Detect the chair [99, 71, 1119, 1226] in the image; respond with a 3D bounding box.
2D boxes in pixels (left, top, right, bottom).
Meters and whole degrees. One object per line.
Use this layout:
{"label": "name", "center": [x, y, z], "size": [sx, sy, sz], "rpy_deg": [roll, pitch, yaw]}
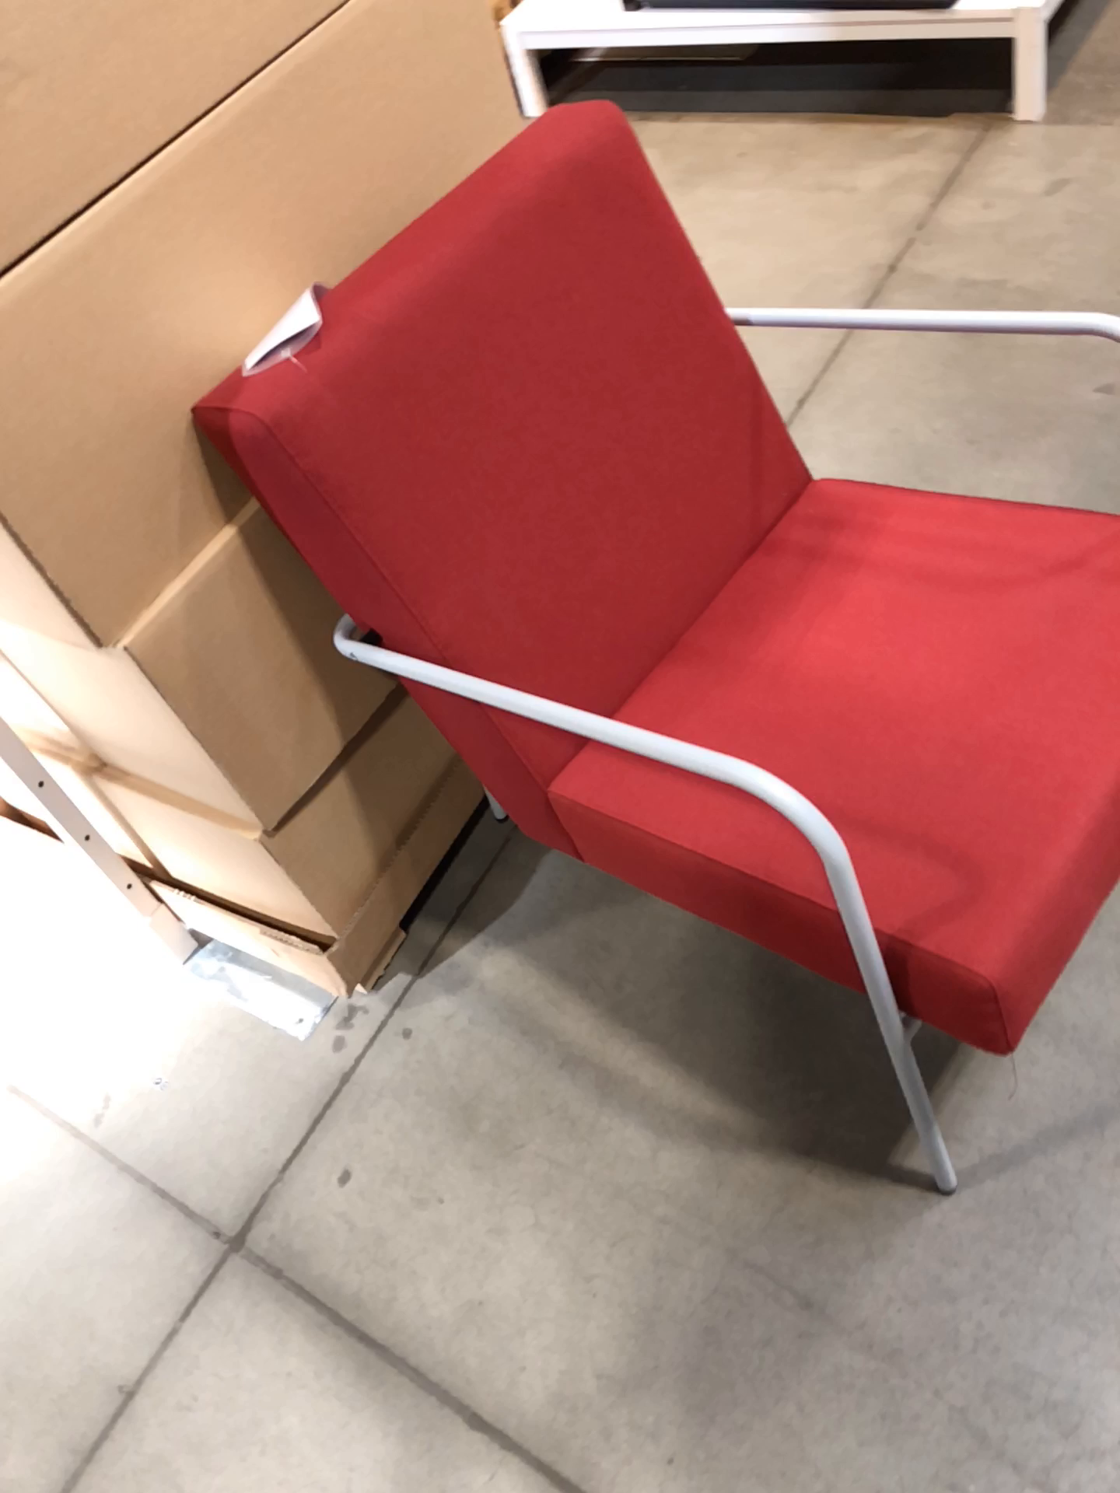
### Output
{"label": "chair", "center": [0.178, -0.129, 1.201], "size": [0.762, 0.707, 0.630], "rpy_deg": [25, 63, 34]}
